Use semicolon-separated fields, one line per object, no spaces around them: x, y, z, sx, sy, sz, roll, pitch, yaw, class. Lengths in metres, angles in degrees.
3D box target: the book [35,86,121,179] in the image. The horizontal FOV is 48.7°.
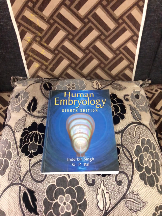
-0.008;0.054;0.505;0.200;0.030;0.270;1;57;-2;book
